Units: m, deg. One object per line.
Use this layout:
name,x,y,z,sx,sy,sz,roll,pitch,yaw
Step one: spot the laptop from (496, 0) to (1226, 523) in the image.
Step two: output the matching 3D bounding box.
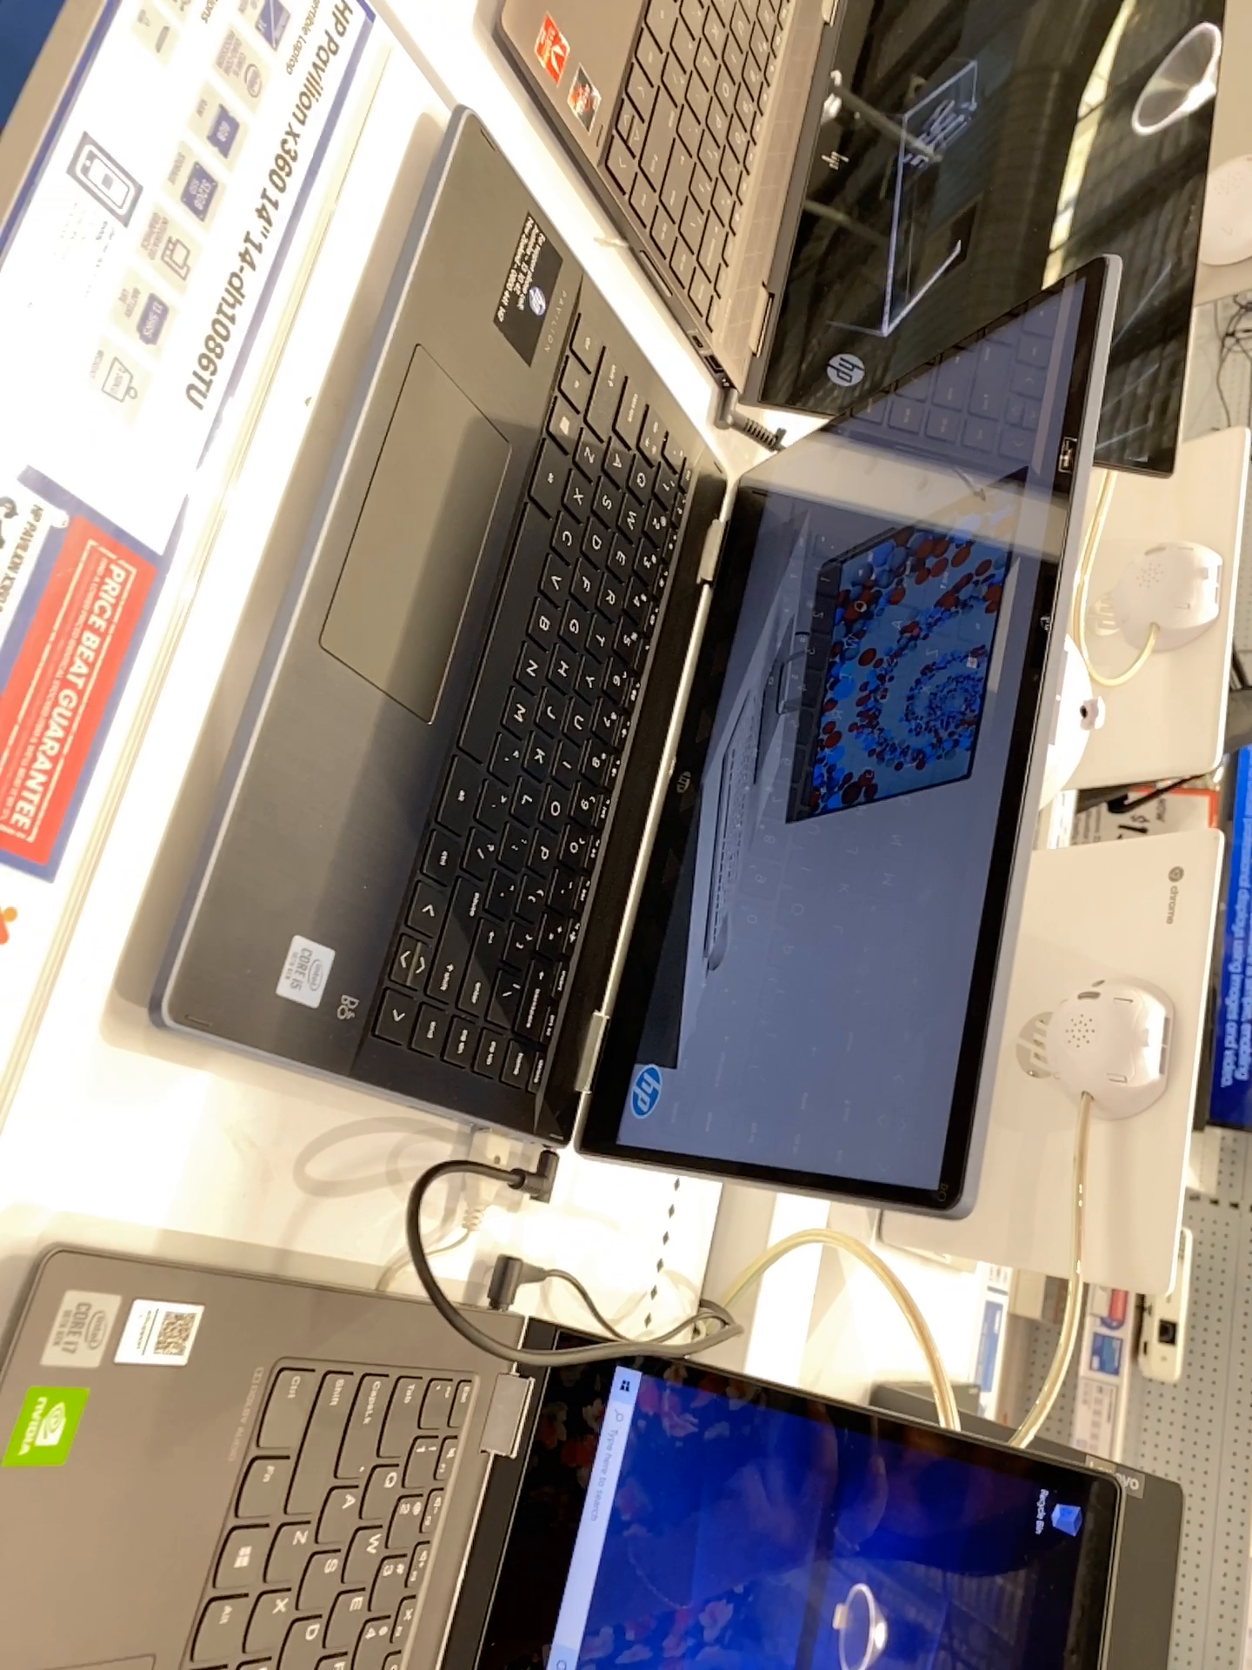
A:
laptop,0.145,-0.375,0.584,0.326,0.173,0.325,36,61,-52

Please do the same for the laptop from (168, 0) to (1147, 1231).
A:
laptop,0.041,-0.056,0.430,0.212,0.189,0.313,36,62,-53

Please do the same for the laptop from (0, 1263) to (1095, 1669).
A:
laptop,-0.025,0.310,0.340,0.296,0.199,0.306,40,58,-52
